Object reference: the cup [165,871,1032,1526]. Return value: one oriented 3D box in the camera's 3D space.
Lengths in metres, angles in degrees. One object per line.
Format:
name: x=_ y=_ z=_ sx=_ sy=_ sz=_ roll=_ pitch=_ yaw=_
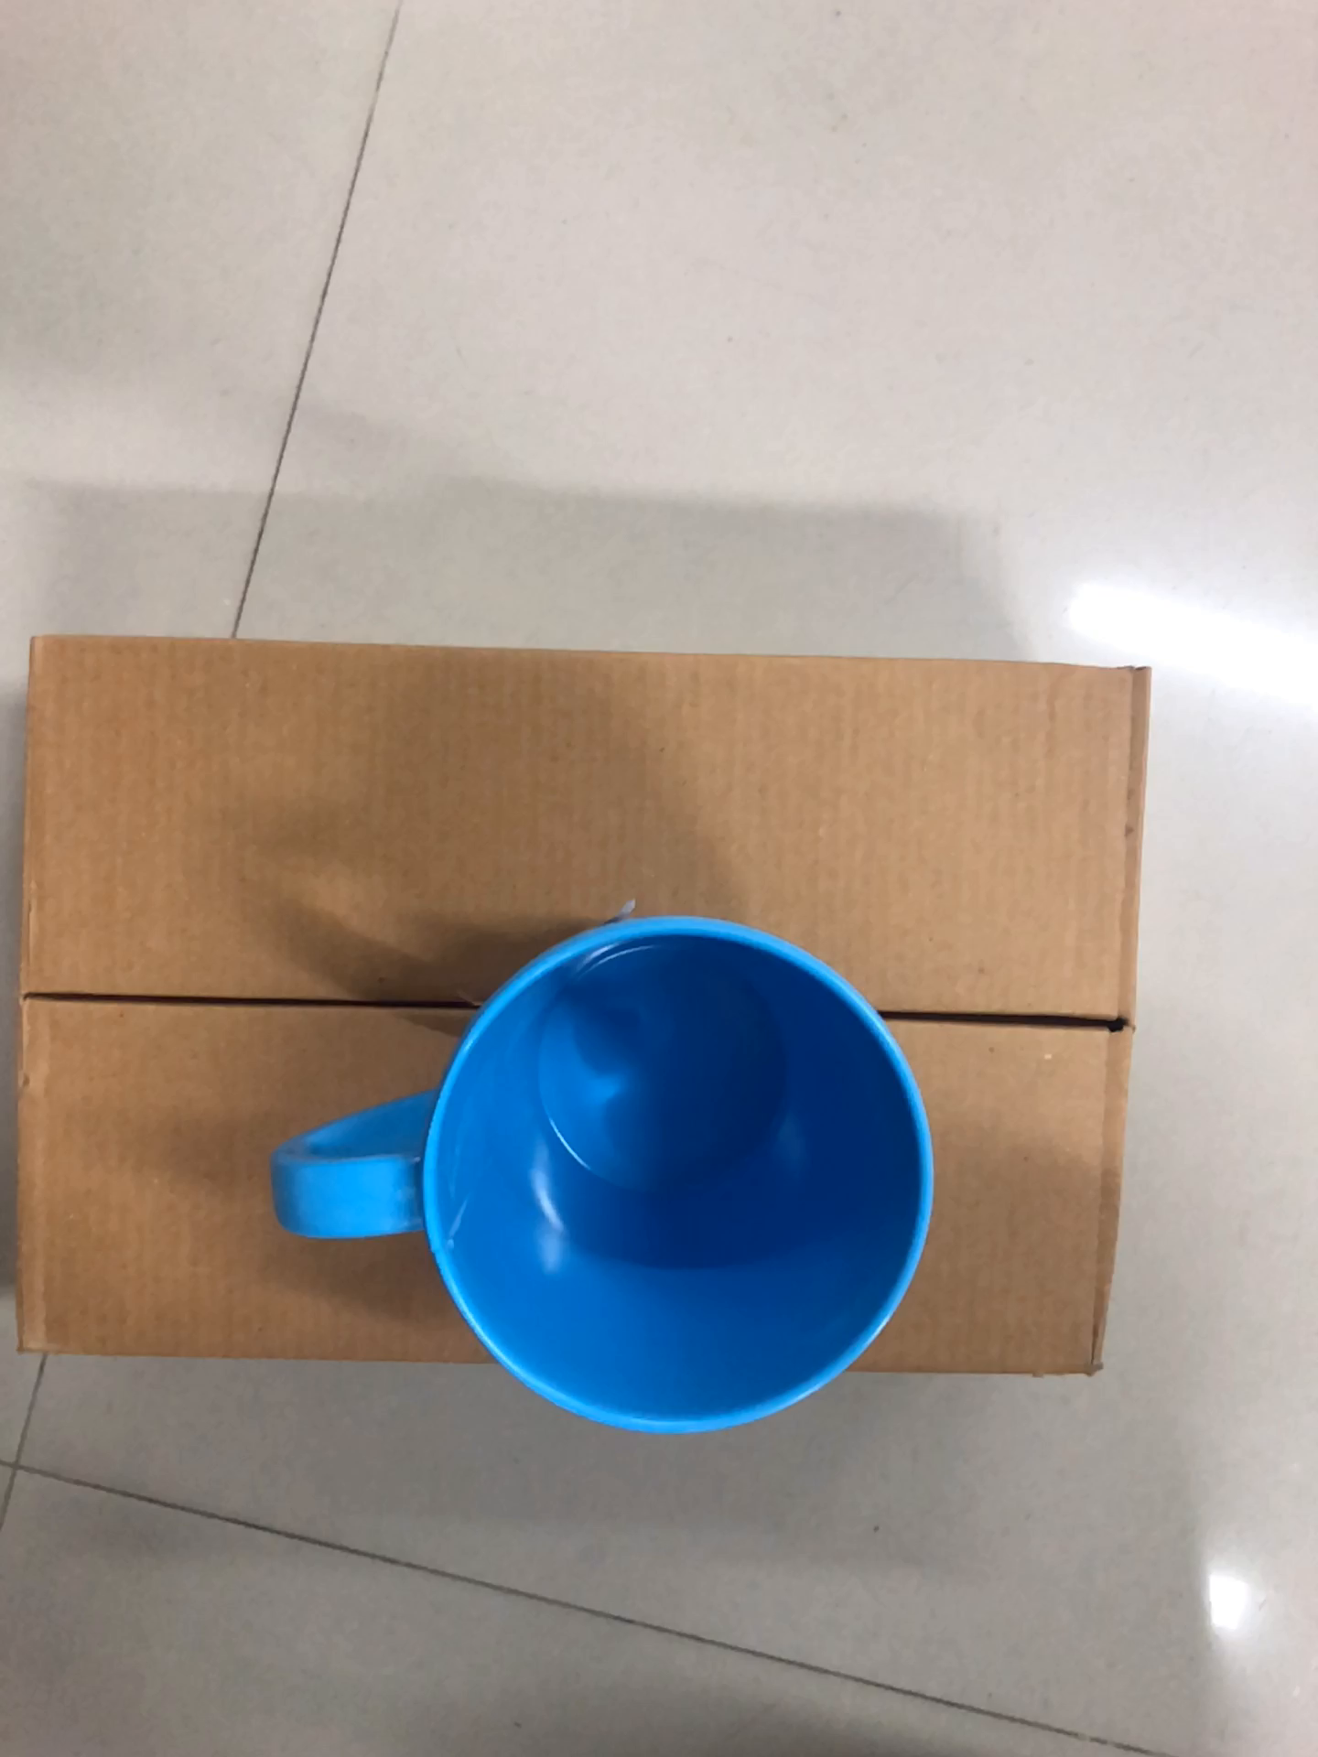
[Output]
cup: x=-0.009 y=0.048 z=0.263 sx=0.120 sy=0.090 sz=0.080 roll=-7 pitch=93 yaw=-1
